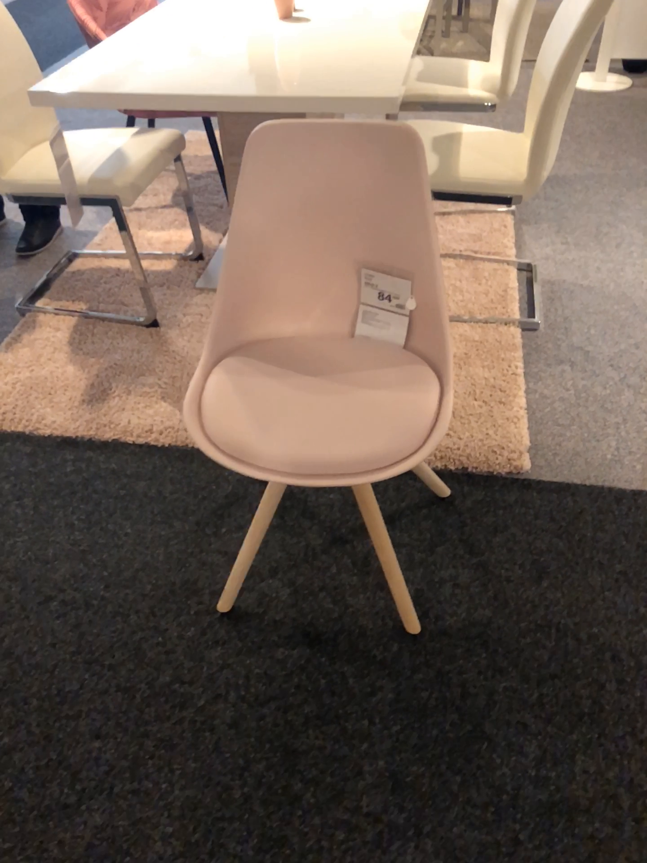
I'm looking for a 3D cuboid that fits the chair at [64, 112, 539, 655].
[{"bbox_3d":[0.020,-0.087,1.298,0.570,0.766,0.564,4,41,8],"label":"chair"}]
